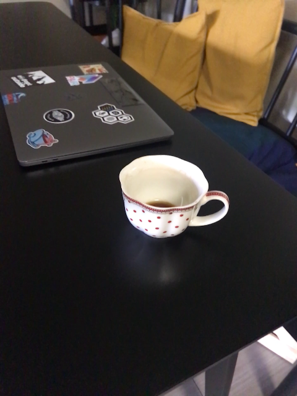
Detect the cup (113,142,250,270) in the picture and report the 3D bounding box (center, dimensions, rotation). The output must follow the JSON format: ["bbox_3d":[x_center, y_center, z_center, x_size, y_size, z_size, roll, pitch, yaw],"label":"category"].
[{"bbox_3d":[0.035,0.003,0.360,0.120,0.069,0.091,18,41,16],"label":"cup"}]
